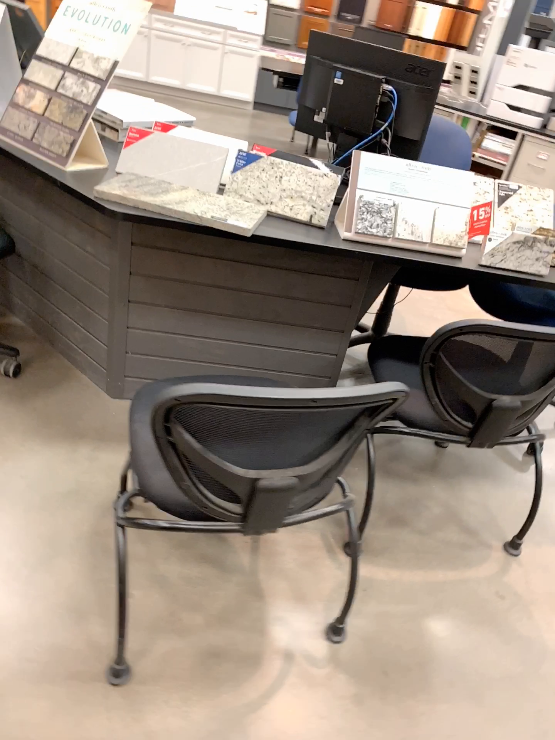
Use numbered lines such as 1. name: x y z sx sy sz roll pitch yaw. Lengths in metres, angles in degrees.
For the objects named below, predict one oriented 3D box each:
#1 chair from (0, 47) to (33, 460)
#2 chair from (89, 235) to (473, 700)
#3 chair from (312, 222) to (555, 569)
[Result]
1. chair: -1.242 -0.380 1.733 0.646 0.886 0.706 -21 47 -40
2. chair: -0.106 0.193 1.304 0.604 0.777 0.597 -1 35 -20
3. chair: 0.512 0.081 1.681 0.594 0.777 0.587 6 33 -10
